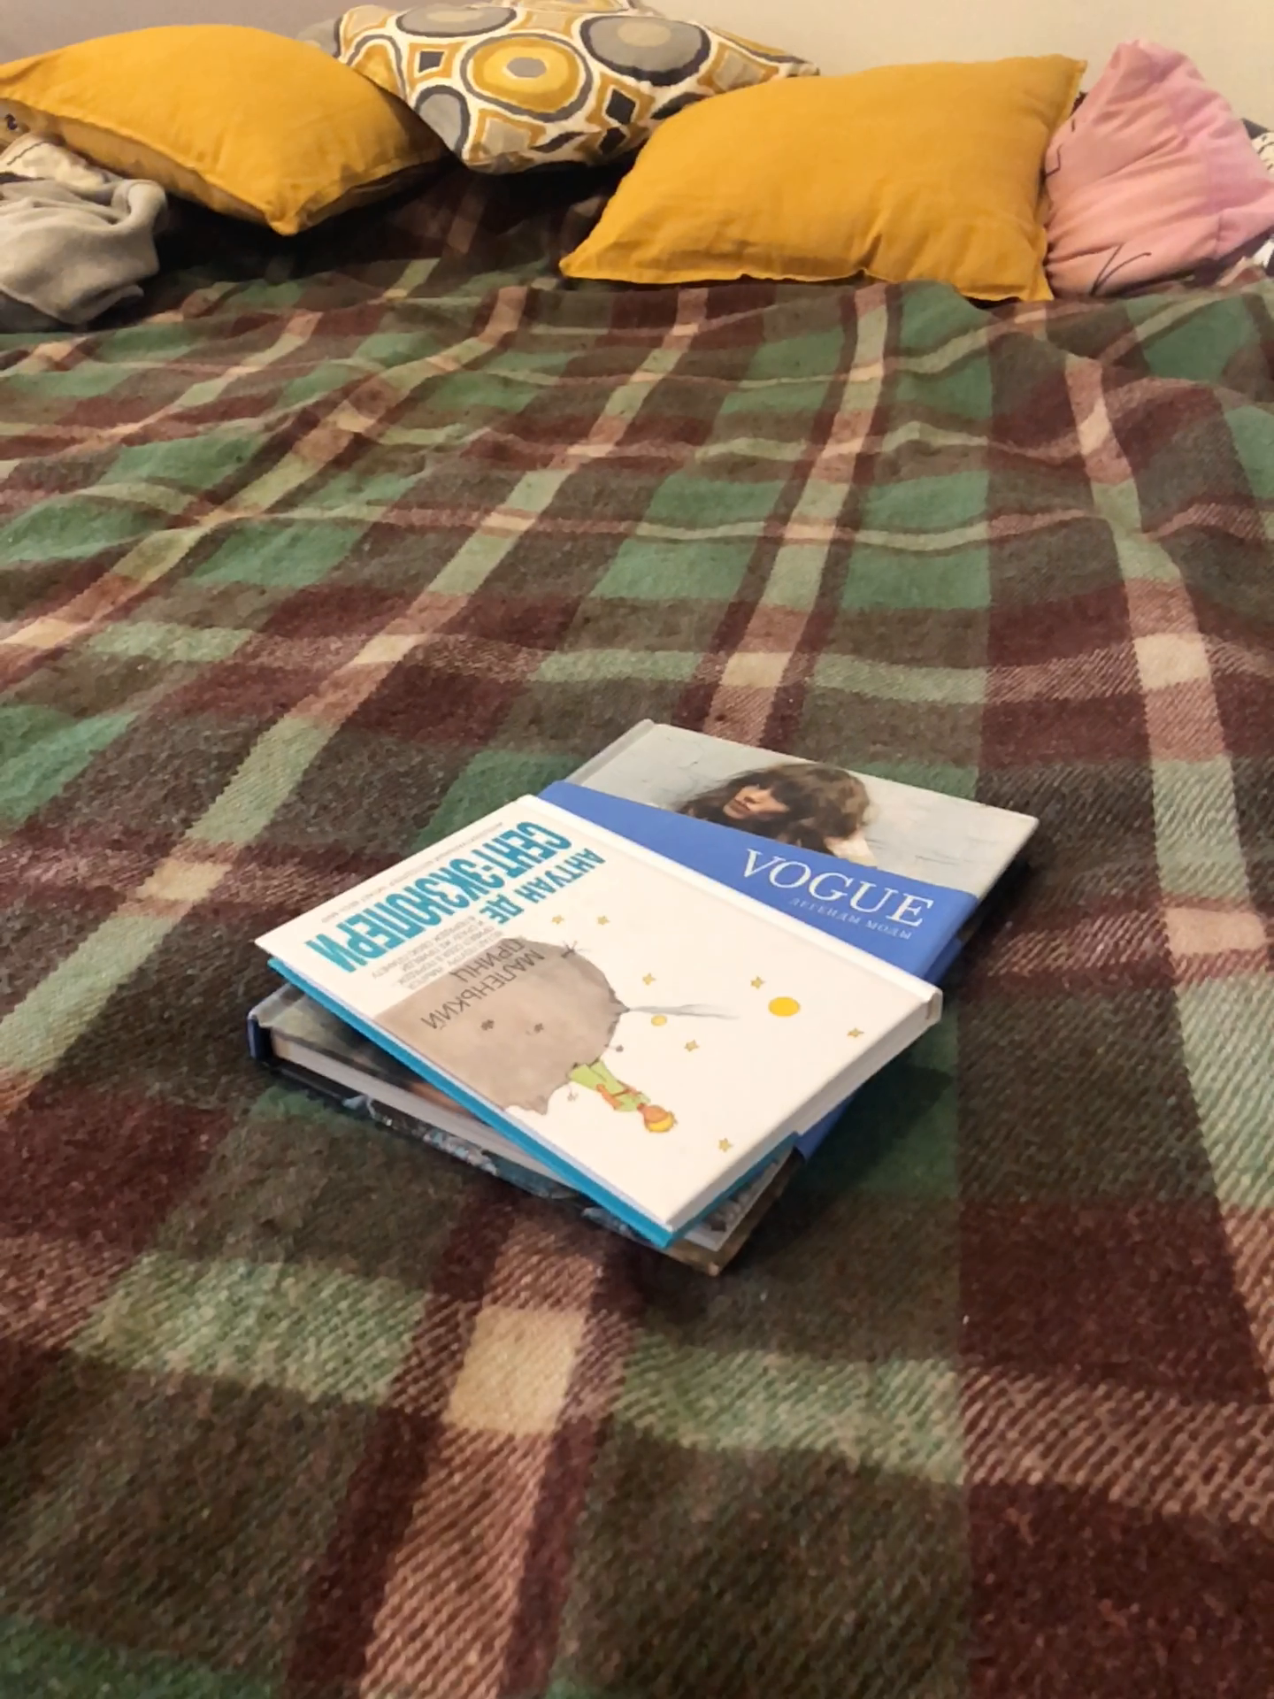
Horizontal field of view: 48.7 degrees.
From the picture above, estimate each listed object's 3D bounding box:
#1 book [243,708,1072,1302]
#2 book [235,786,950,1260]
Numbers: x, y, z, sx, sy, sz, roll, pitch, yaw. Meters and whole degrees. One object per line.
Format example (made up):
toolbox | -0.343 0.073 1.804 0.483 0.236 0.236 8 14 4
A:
book | 0.020 0.027 0.473 0.174 0.023 0.241 18 36 28
book | -0.016 0.036 0.406 0.170 0.014 0.119 25 40 37
